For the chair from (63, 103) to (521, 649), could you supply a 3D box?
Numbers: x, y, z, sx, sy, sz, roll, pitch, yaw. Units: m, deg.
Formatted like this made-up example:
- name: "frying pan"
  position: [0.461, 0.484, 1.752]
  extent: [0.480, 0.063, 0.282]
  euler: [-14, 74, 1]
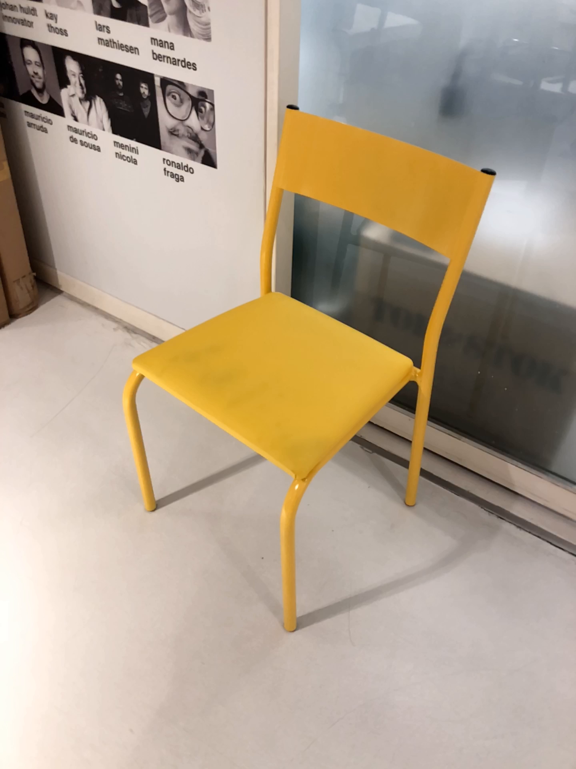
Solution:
- name: "chair"
  position: [0.008, -0.025, 1.236]
  extent: [0.491, 0.784, 0.523]
  euler: [31, 48, 29]
